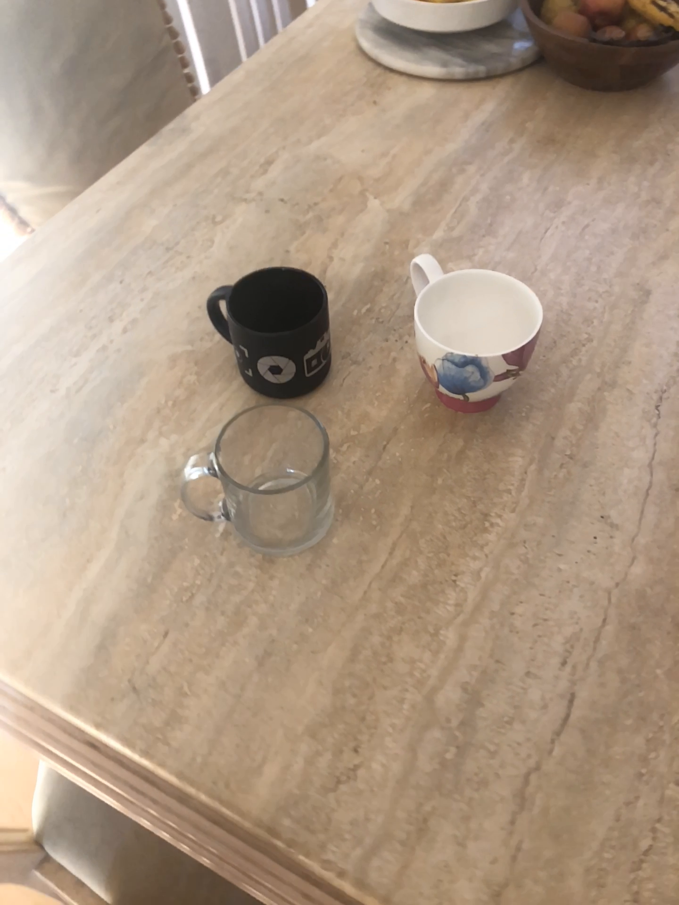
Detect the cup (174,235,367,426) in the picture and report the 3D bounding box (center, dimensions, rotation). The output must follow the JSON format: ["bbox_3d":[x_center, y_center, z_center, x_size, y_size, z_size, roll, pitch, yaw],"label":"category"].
[{"bbox_3d":[-0.061,-0.117,0.702,0.140,0.089,0.101,31,60,24],"label":"cup"}]

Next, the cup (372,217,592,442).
[{"bbox_3d":[0.119,-0.114,0.673,0.120,0.089,0.161,-21,54,-13],"label":"cup"}]

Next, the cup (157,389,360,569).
[{"bbox_3d":[-0.060,0.021,0.586,0.140,0.089,0.091,-6,52,-2],"label":"cup"}]
